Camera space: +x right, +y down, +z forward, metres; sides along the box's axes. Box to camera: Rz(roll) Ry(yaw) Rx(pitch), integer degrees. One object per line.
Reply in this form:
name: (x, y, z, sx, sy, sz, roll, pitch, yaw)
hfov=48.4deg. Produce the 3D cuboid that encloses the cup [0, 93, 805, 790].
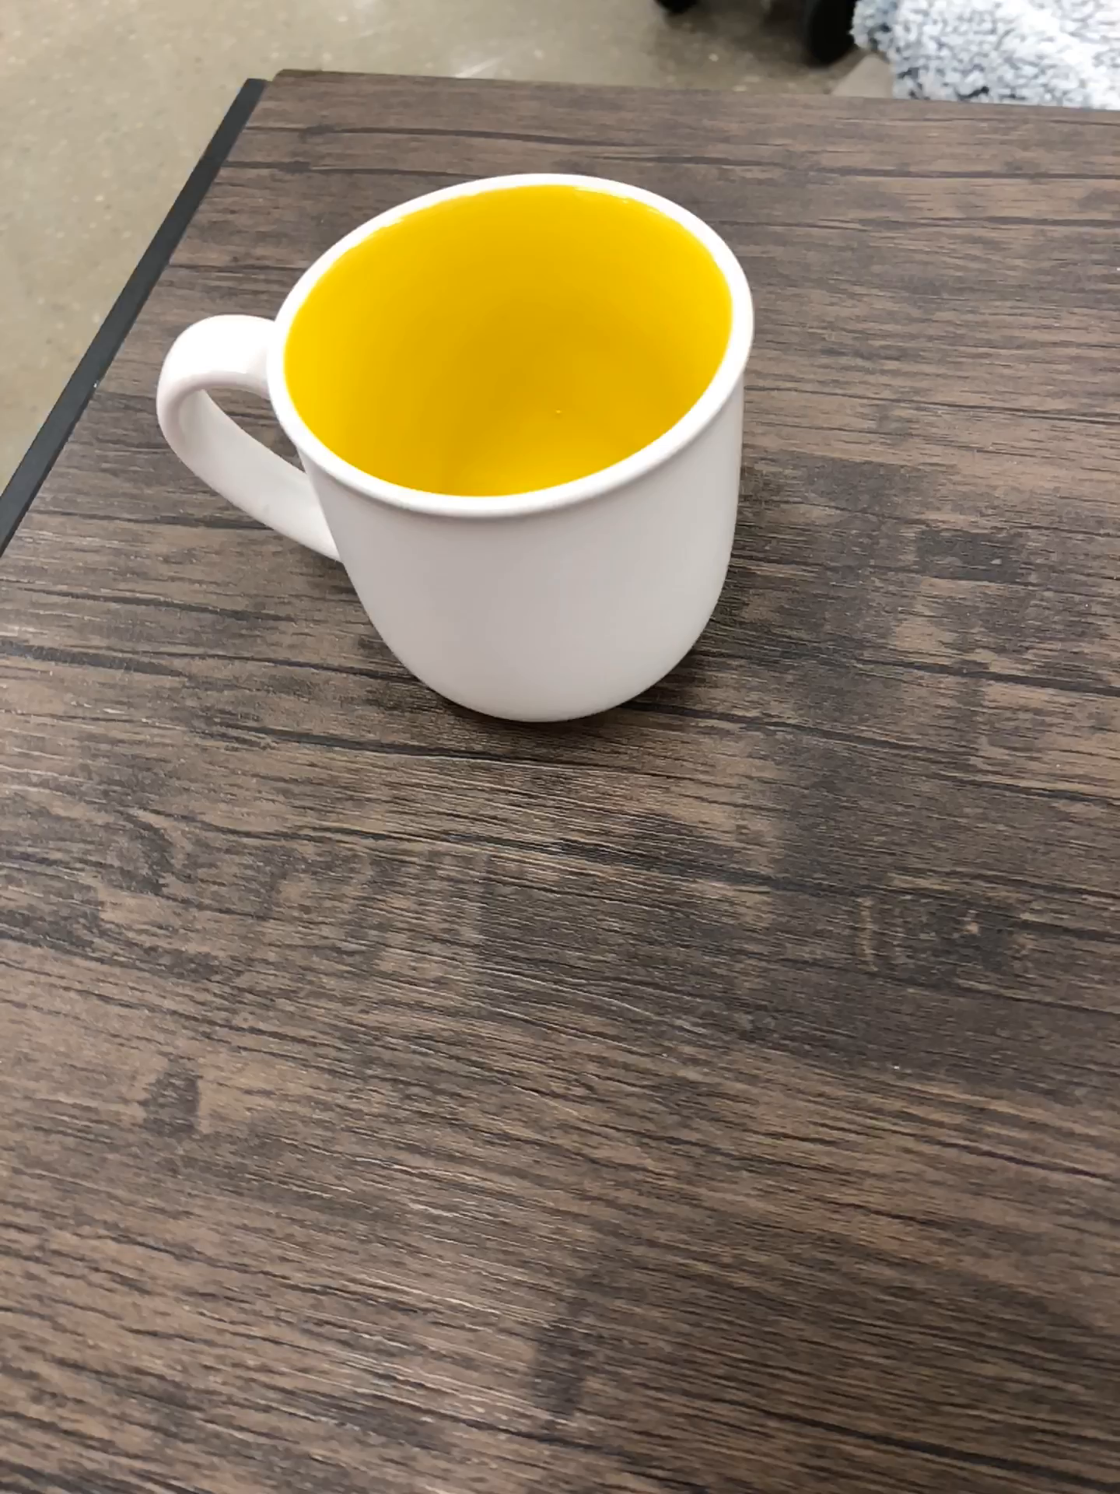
cup: (-0.024, -0.063, 0.266, 0.130, 0.100, 0.080, 12, 60, 13)
